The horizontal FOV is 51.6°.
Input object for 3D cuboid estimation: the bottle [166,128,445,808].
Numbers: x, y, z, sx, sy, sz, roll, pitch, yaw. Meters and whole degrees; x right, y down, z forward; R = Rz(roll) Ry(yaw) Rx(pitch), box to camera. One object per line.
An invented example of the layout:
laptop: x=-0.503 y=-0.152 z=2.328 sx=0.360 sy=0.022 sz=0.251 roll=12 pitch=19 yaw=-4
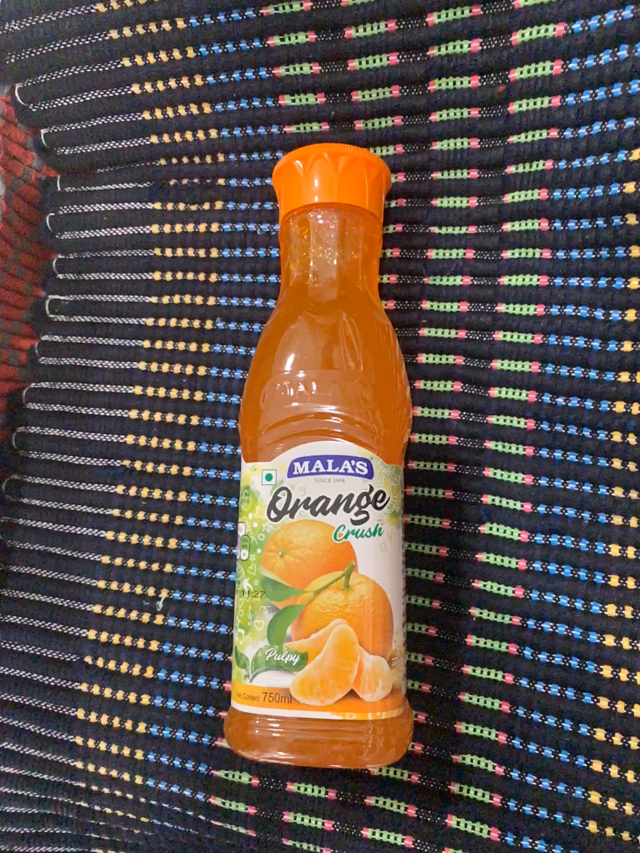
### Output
bottle: x=0.004 y=0.009 z=0.258 sx=0.080 sy=0.080 sz=0.220 roll=2 pitch=79 yaw=8
